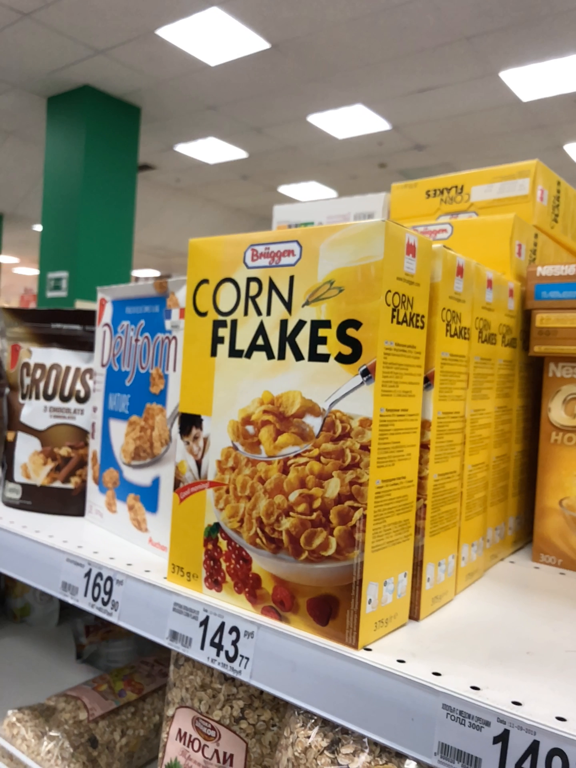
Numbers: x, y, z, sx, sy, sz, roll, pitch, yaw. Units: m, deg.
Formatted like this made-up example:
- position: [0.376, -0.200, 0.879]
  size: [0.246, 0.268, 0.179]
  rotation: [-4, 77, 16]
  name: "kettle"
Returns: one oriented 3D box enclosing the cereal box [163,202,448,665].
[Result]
- position: [0.007, 0.027, 0.507]
  size: [0.200, 0.300, 0.080]
  rotation: [4, 1, 37]
  name: "cereal box"
